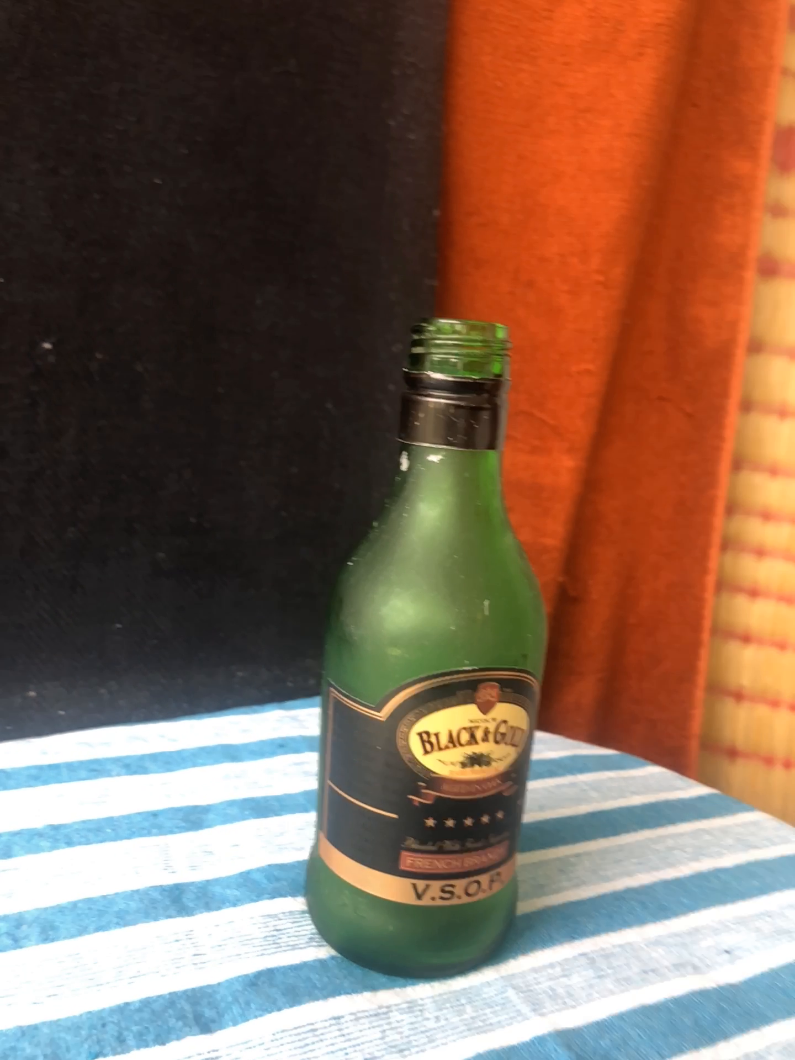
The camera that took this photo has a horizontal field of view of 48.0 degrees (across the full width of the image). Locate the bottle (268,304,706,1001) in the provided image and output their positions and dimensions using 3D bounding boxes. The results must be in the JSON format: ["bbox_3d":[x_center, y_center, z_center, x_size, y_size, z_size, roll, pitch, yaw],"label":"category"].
[{"bbox_3d":[0.015,0.023,0.211,0.060,0.140,0.060,8,10,-1],"label":"bottle"}]
